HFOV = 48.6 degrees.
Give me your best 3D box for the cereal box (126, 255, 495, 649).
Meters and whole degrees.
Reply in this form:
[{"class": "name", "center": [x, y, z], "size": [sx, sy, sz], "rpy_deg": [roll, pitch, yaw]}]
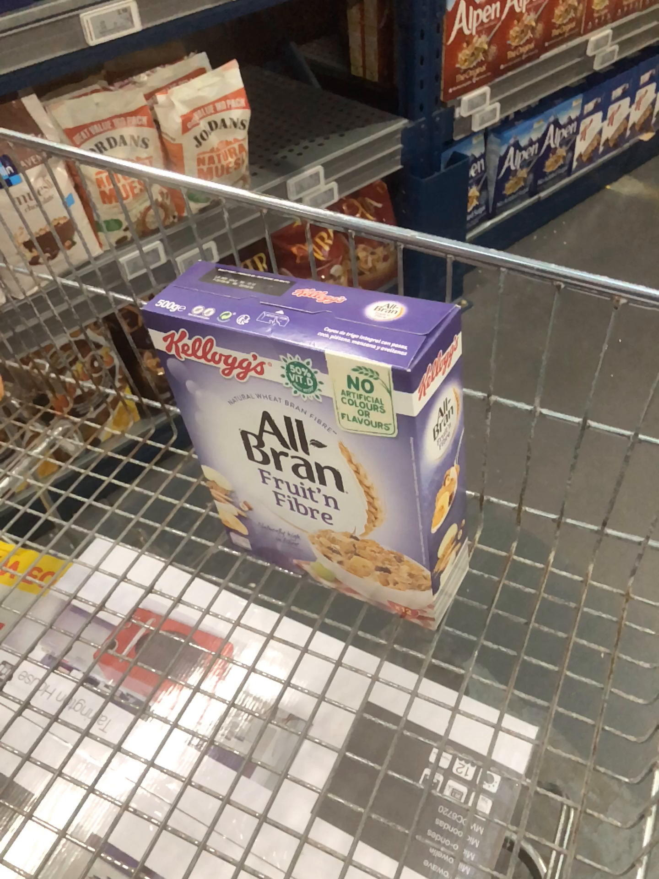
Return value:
[{"class": "cereal box", "center": [0.001, 0.012, 0.472], "size": [0.190, 0.229, 0.070], "rpy_deg": [15, 50, 28]}]
